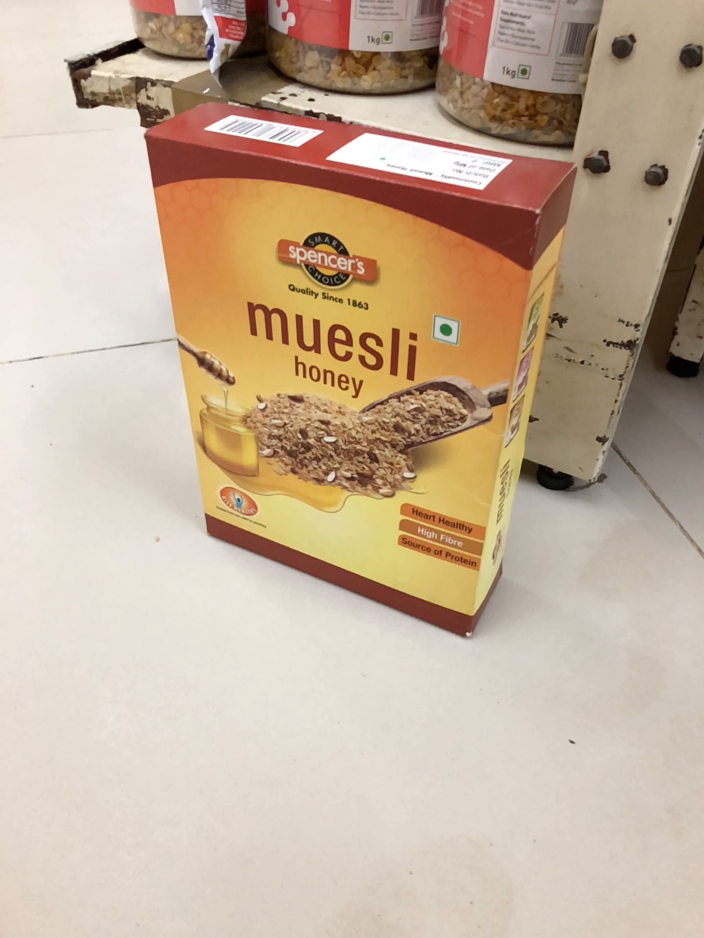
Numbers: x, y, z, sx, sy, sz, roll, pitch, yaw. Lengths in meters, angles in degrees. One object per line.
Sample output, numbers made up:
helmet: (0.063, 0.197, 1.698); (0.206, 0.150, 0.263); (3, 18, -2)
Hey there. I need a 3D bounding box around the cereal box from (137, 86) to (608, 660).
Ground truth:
cereal box: (0.004, -0.040, 0.406); (0.190, 0.258, 0.060); (21, 45, 23)
